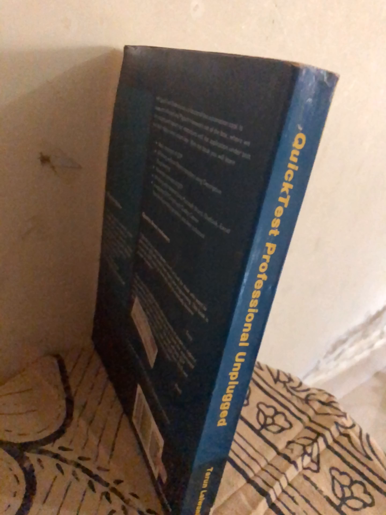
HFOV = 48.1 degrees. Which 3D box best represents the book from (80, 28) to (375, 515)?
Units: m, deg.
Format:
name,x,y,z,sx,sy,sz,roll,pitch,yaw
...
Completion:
name,x,y,z,sx,sy,sz,roll,pitch,yaw
book,-0.017,0.005,0.291,0.050,0.269,0.210,-3,24,-29
